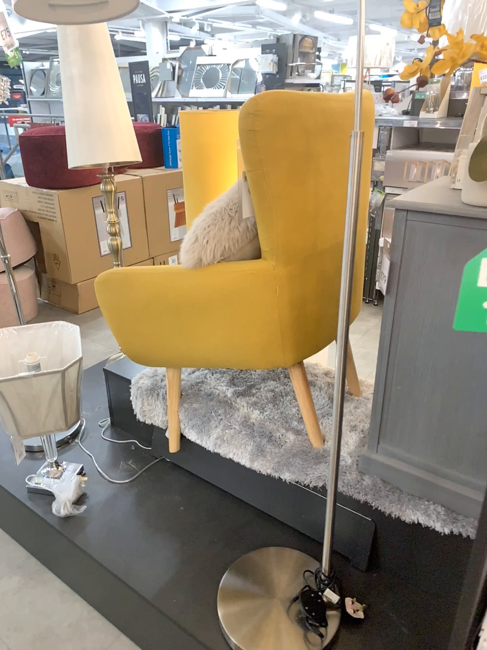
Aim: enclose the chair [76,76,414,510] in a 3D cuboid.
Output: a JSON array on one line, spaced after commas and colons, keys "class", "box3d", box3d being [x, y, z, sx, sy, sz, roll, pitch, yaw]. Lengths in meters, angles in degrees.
[{"class": "chair", "box3d": [0.065, -0.135, 1.545, 0.711, 1.023, 0.593, 5, 23, 35]}]
